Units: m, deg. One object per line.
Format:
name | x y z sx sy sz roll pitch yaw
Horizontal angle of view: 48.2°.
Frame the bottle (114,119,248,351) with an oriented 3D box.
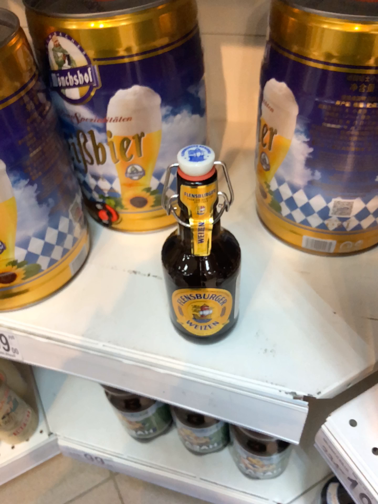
bottle | 0.006 -0.004 0.352 0.080 0.189 0.080 -3 47 3
